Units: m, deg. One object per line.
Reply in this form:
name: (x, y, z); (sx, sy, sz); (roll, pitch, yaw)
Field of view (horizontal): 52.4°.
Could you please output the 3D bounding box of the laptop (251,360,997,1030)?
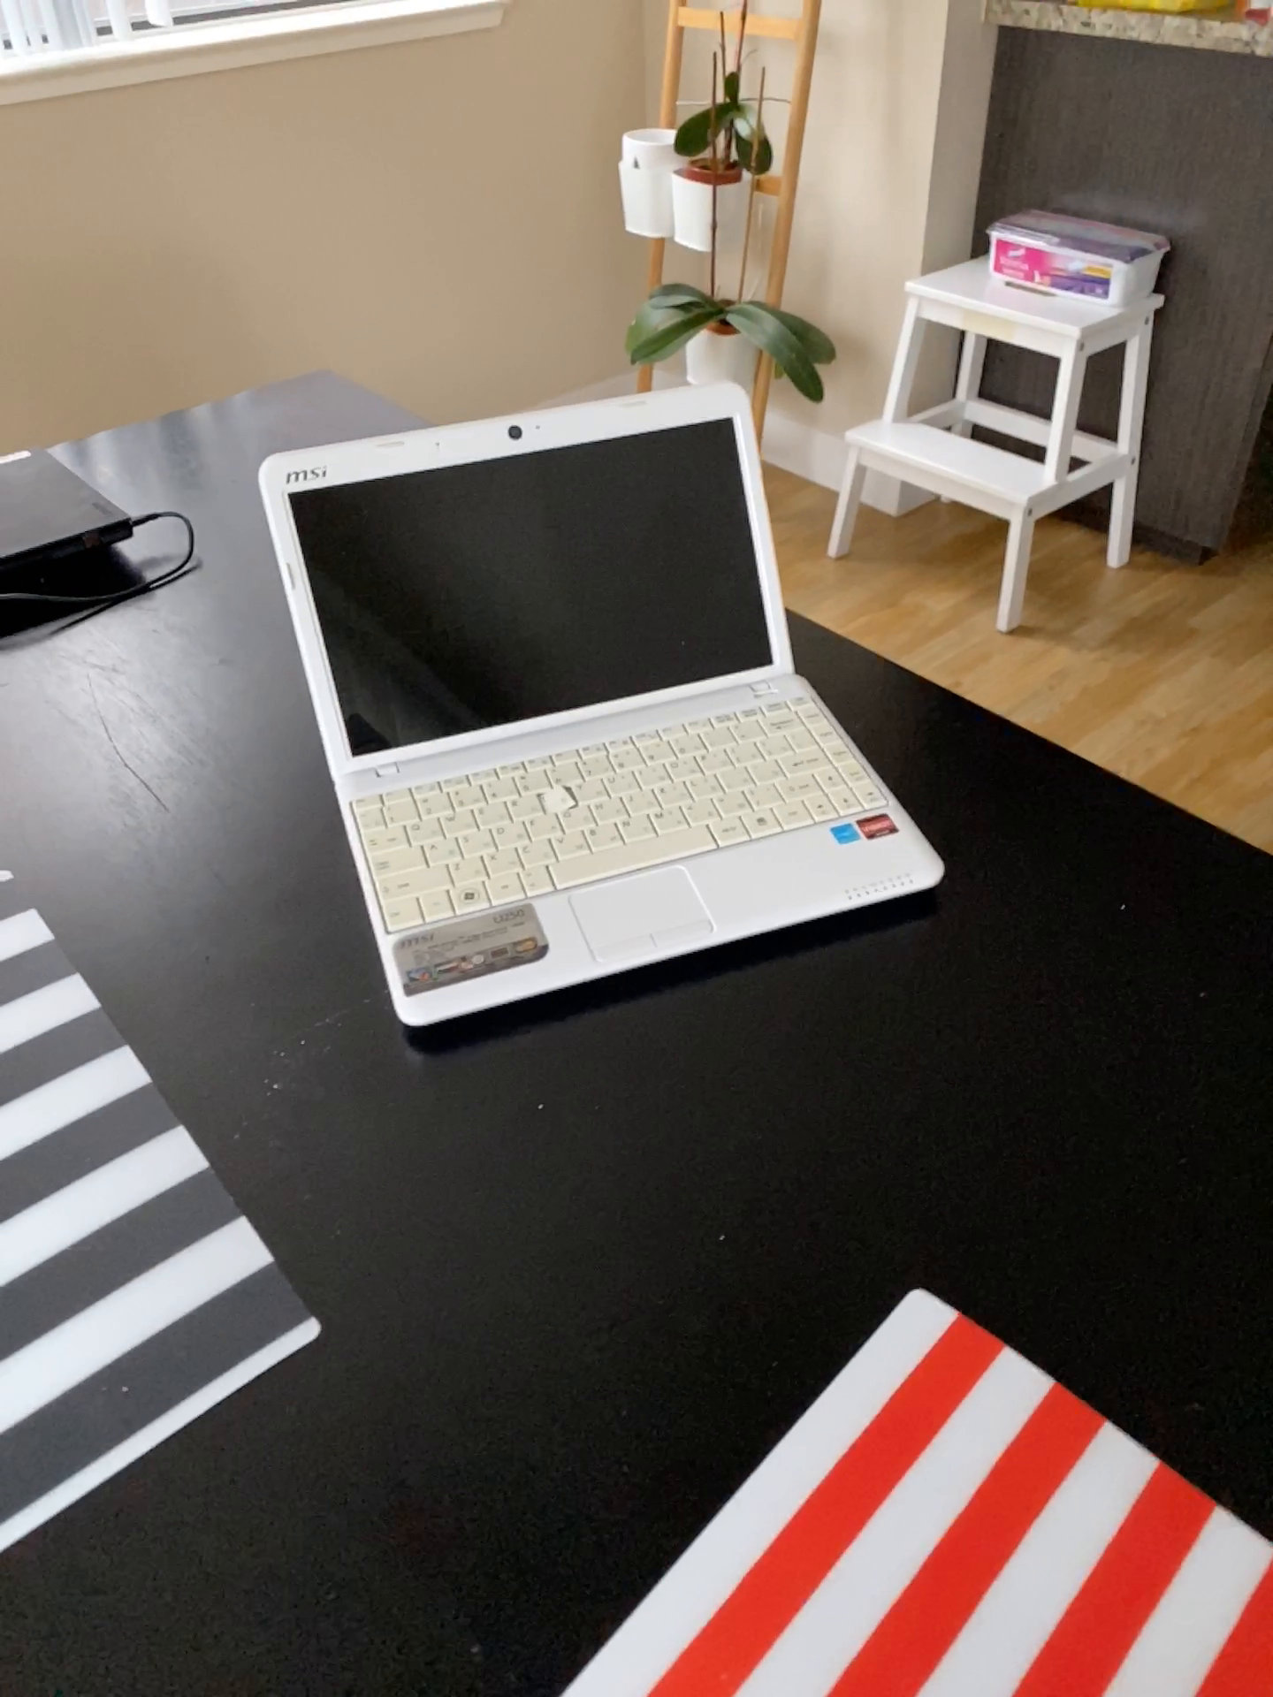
laptop: (-0.024, -0.106, 0.704); (0.294, 0.153, 0.302); (-14, 45, -14)
